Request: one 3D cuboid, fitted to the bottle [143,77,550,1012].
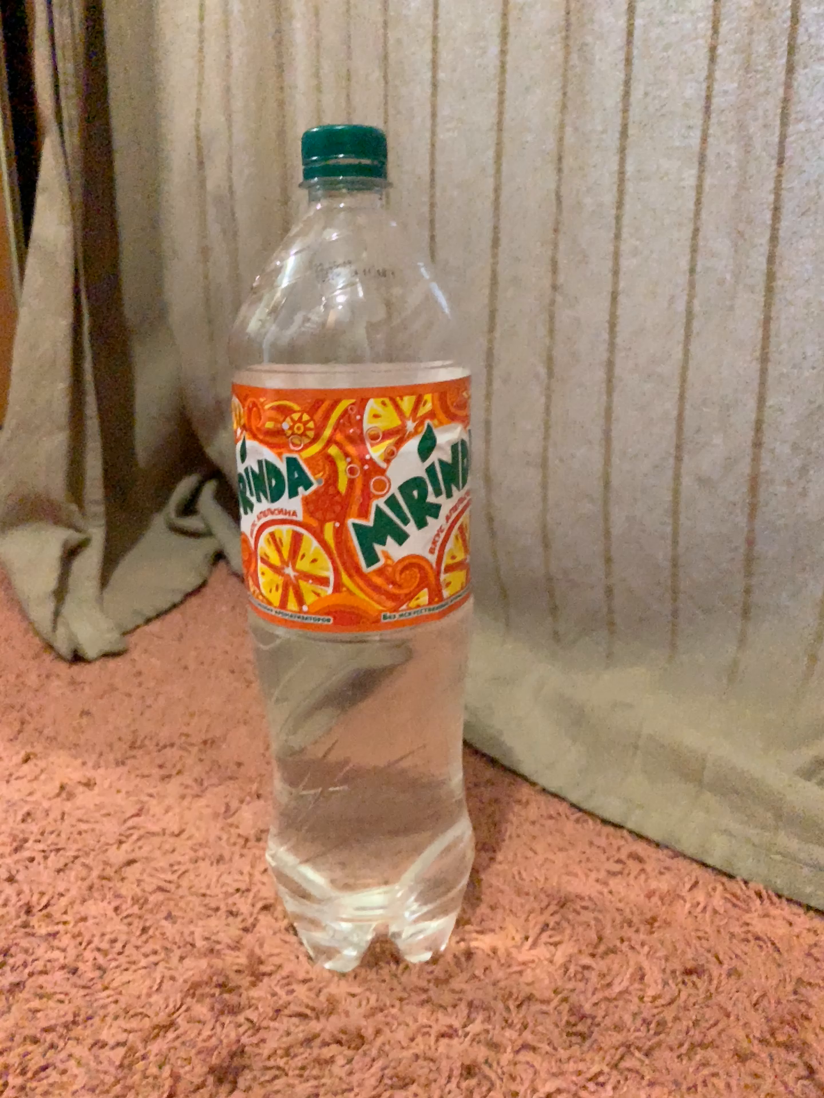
[{"bbox_3d":[-0.024,0.000,0.331,0.100,0.298,0.100,0,15,0],"label":"bottle"}]
